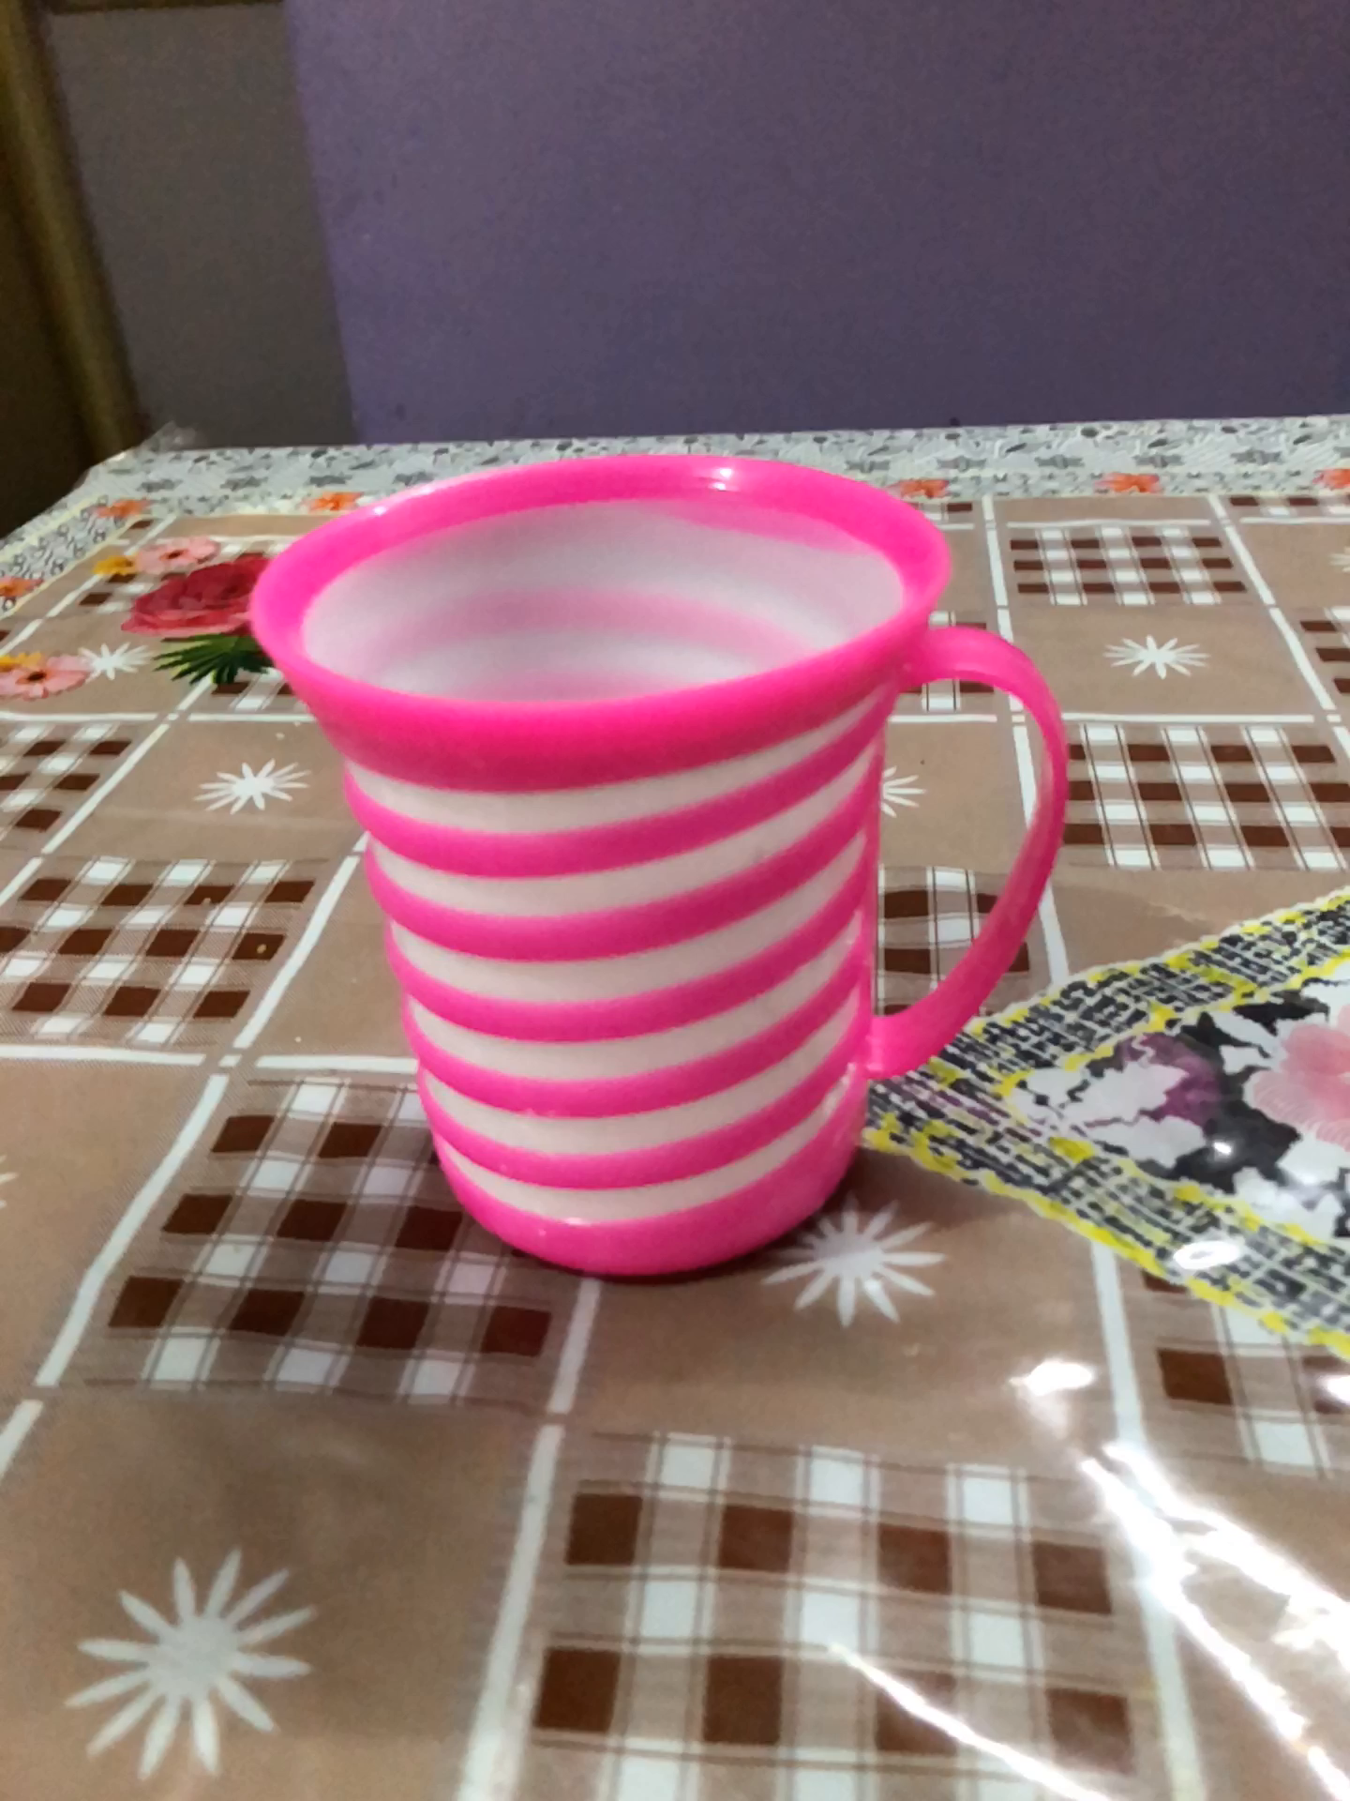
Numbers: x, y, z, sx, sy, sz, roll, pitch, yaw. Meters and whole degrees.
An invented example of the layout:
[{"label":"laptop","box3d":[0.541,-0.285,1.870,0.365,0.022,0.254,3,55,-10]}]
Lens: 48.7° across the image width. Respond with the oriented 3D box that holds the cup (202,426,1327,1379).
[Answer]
[{"label":"cup","box3d":[0.009,-0.004,0.202,0.110,0.089,0.081,-6,32,-3]}]
